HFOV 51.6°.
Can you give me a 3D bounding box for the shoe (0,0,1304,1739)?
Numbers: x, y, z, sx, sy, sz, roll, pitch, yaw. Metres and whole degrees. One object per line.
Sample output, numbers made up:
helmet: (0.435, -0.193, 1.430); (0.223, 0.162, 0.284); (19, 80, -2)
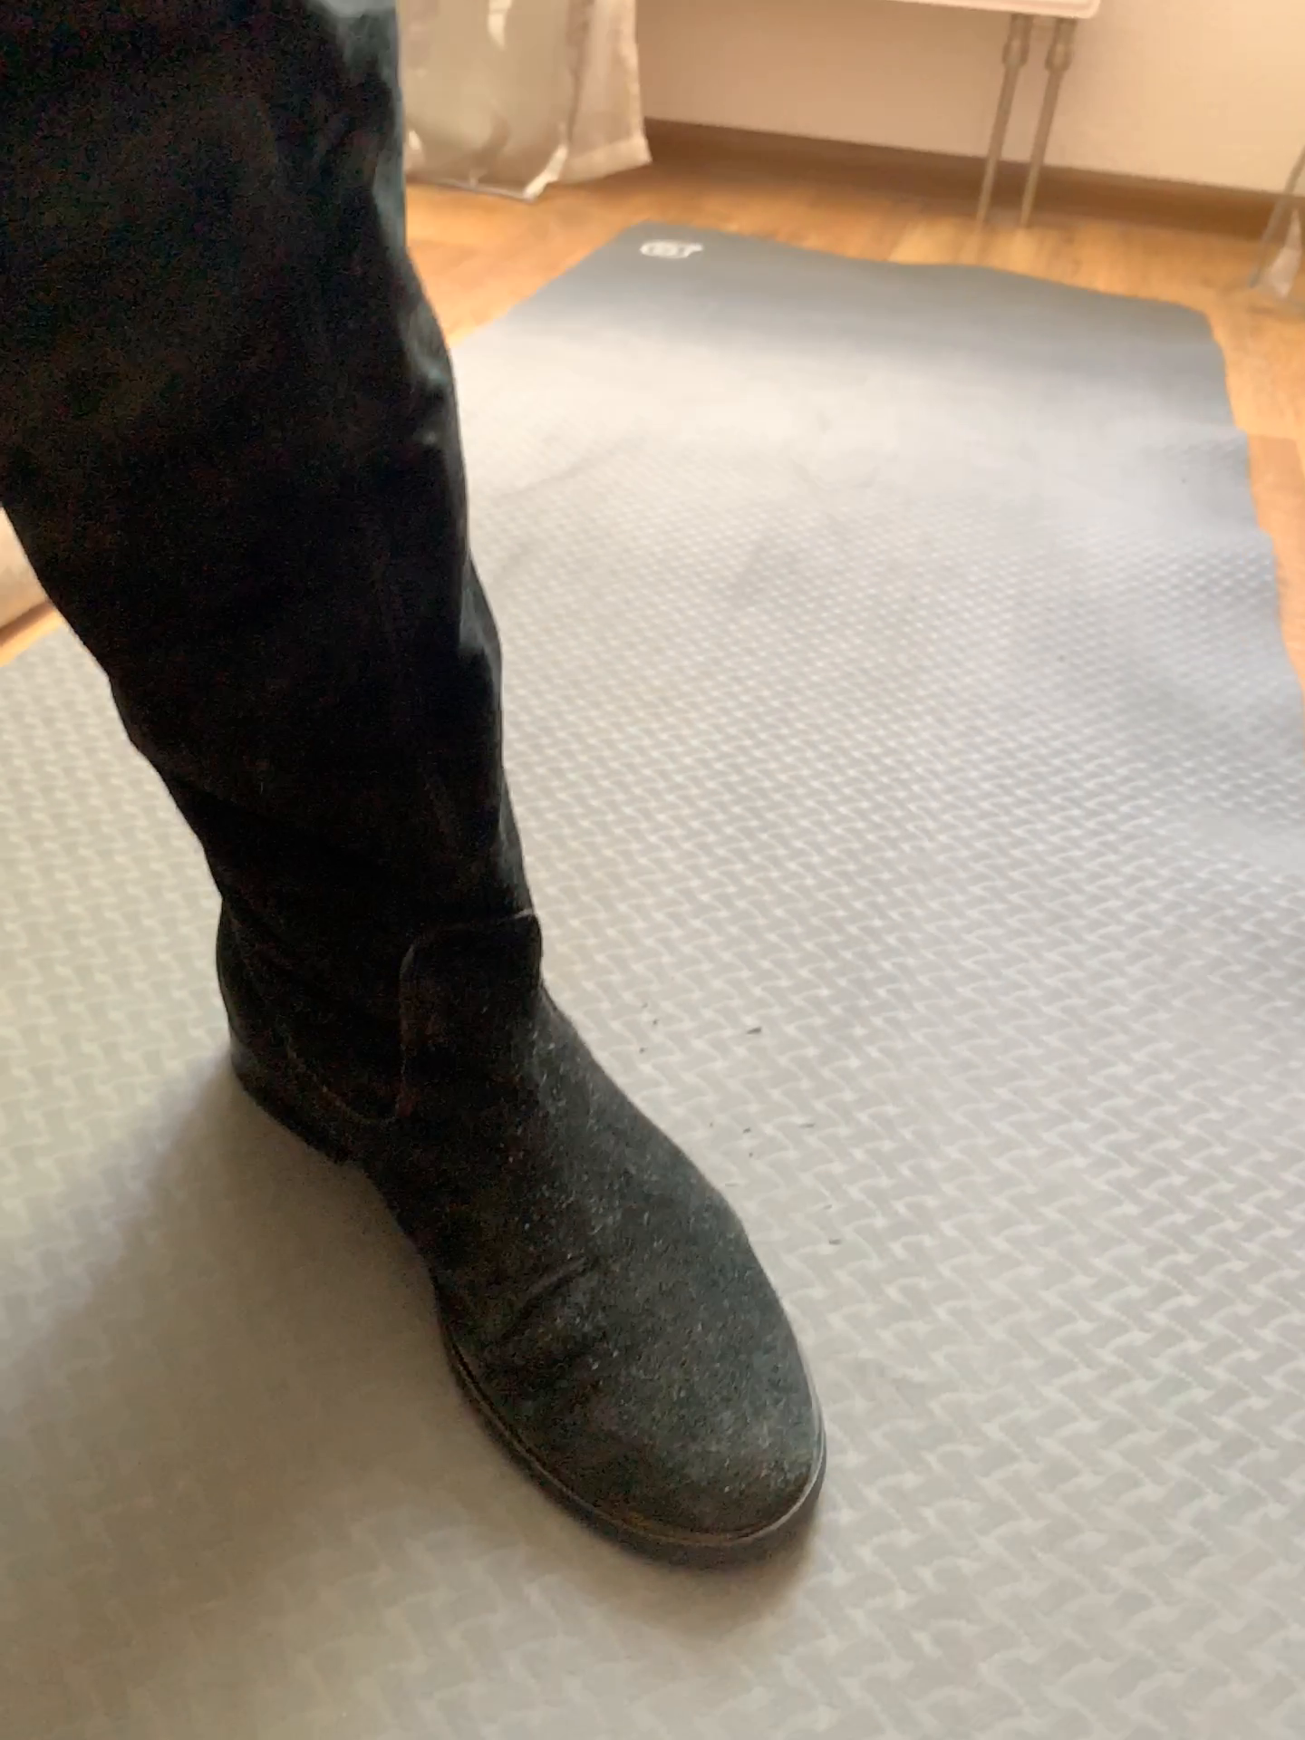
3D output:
shoe: (-0.076, -0.063, 0.295); (0.130, 0.378, 0.321); (-29, 45, -33)
